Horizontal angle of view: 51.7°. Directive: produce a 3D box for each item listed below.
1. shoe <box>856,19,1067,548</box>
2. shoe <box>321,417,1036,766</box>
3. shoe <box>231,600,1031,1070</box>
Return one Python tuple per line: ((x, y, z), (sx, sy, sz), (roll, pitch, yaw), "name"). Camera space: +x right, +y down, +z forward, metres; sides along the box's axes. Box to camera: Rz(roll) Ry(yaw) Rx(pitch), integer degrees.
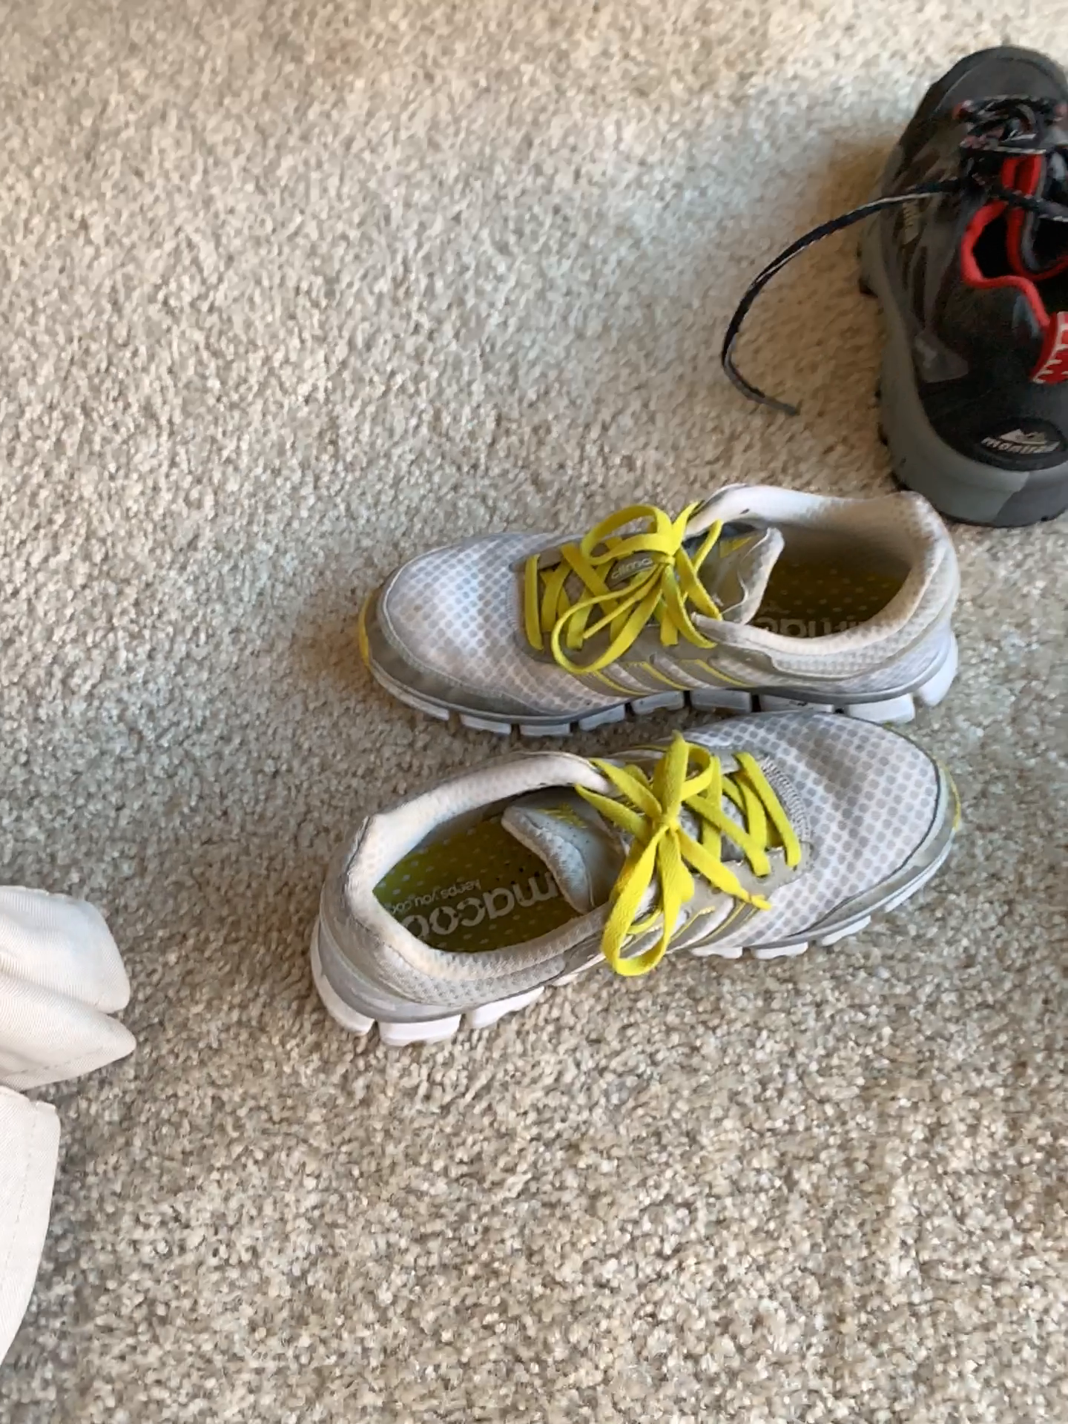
((0.226, -0.225, 0.562), (0.100, 0.090, 0.271), (6, 63, 5), "shoe")
((0.054, -0.050, 0.483), (0.270, 0.090, 0.110), (-2, 62, 1), "shoe")
((0.032, 0.051, 0.452), (0.280, 0.090, 0.110), (-12, 62, -4), "shoe")
